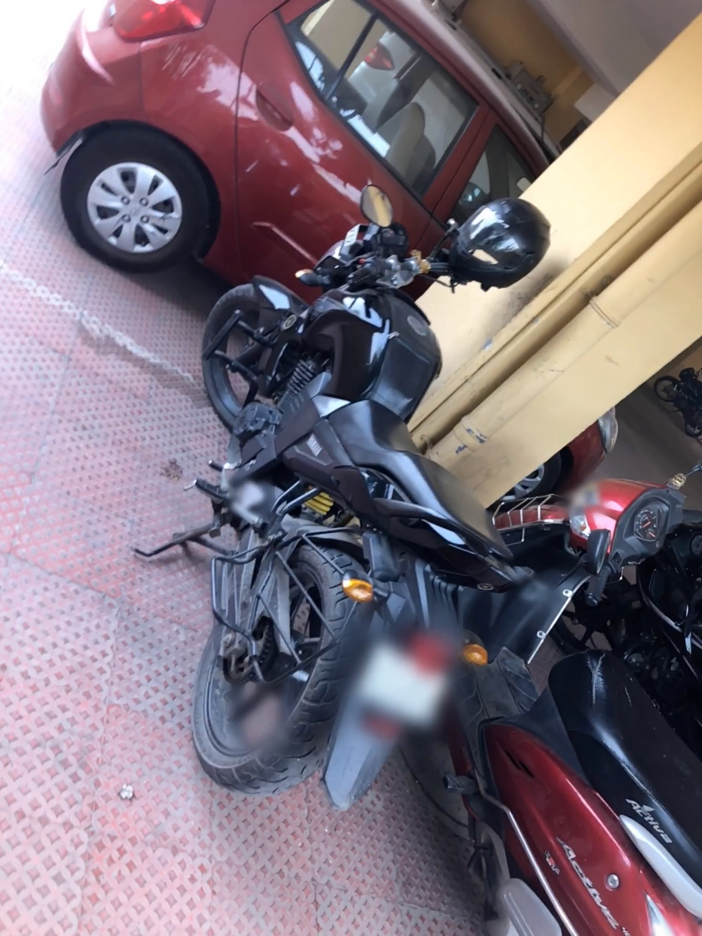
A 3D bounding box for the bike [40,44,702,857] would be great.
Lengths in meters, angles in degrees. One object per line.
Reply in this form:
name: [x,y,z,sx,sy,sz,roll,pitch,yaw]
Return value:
bike: [-0.147,-0.178,2.048,0.739,1.027,1.789,30,29,-35]
